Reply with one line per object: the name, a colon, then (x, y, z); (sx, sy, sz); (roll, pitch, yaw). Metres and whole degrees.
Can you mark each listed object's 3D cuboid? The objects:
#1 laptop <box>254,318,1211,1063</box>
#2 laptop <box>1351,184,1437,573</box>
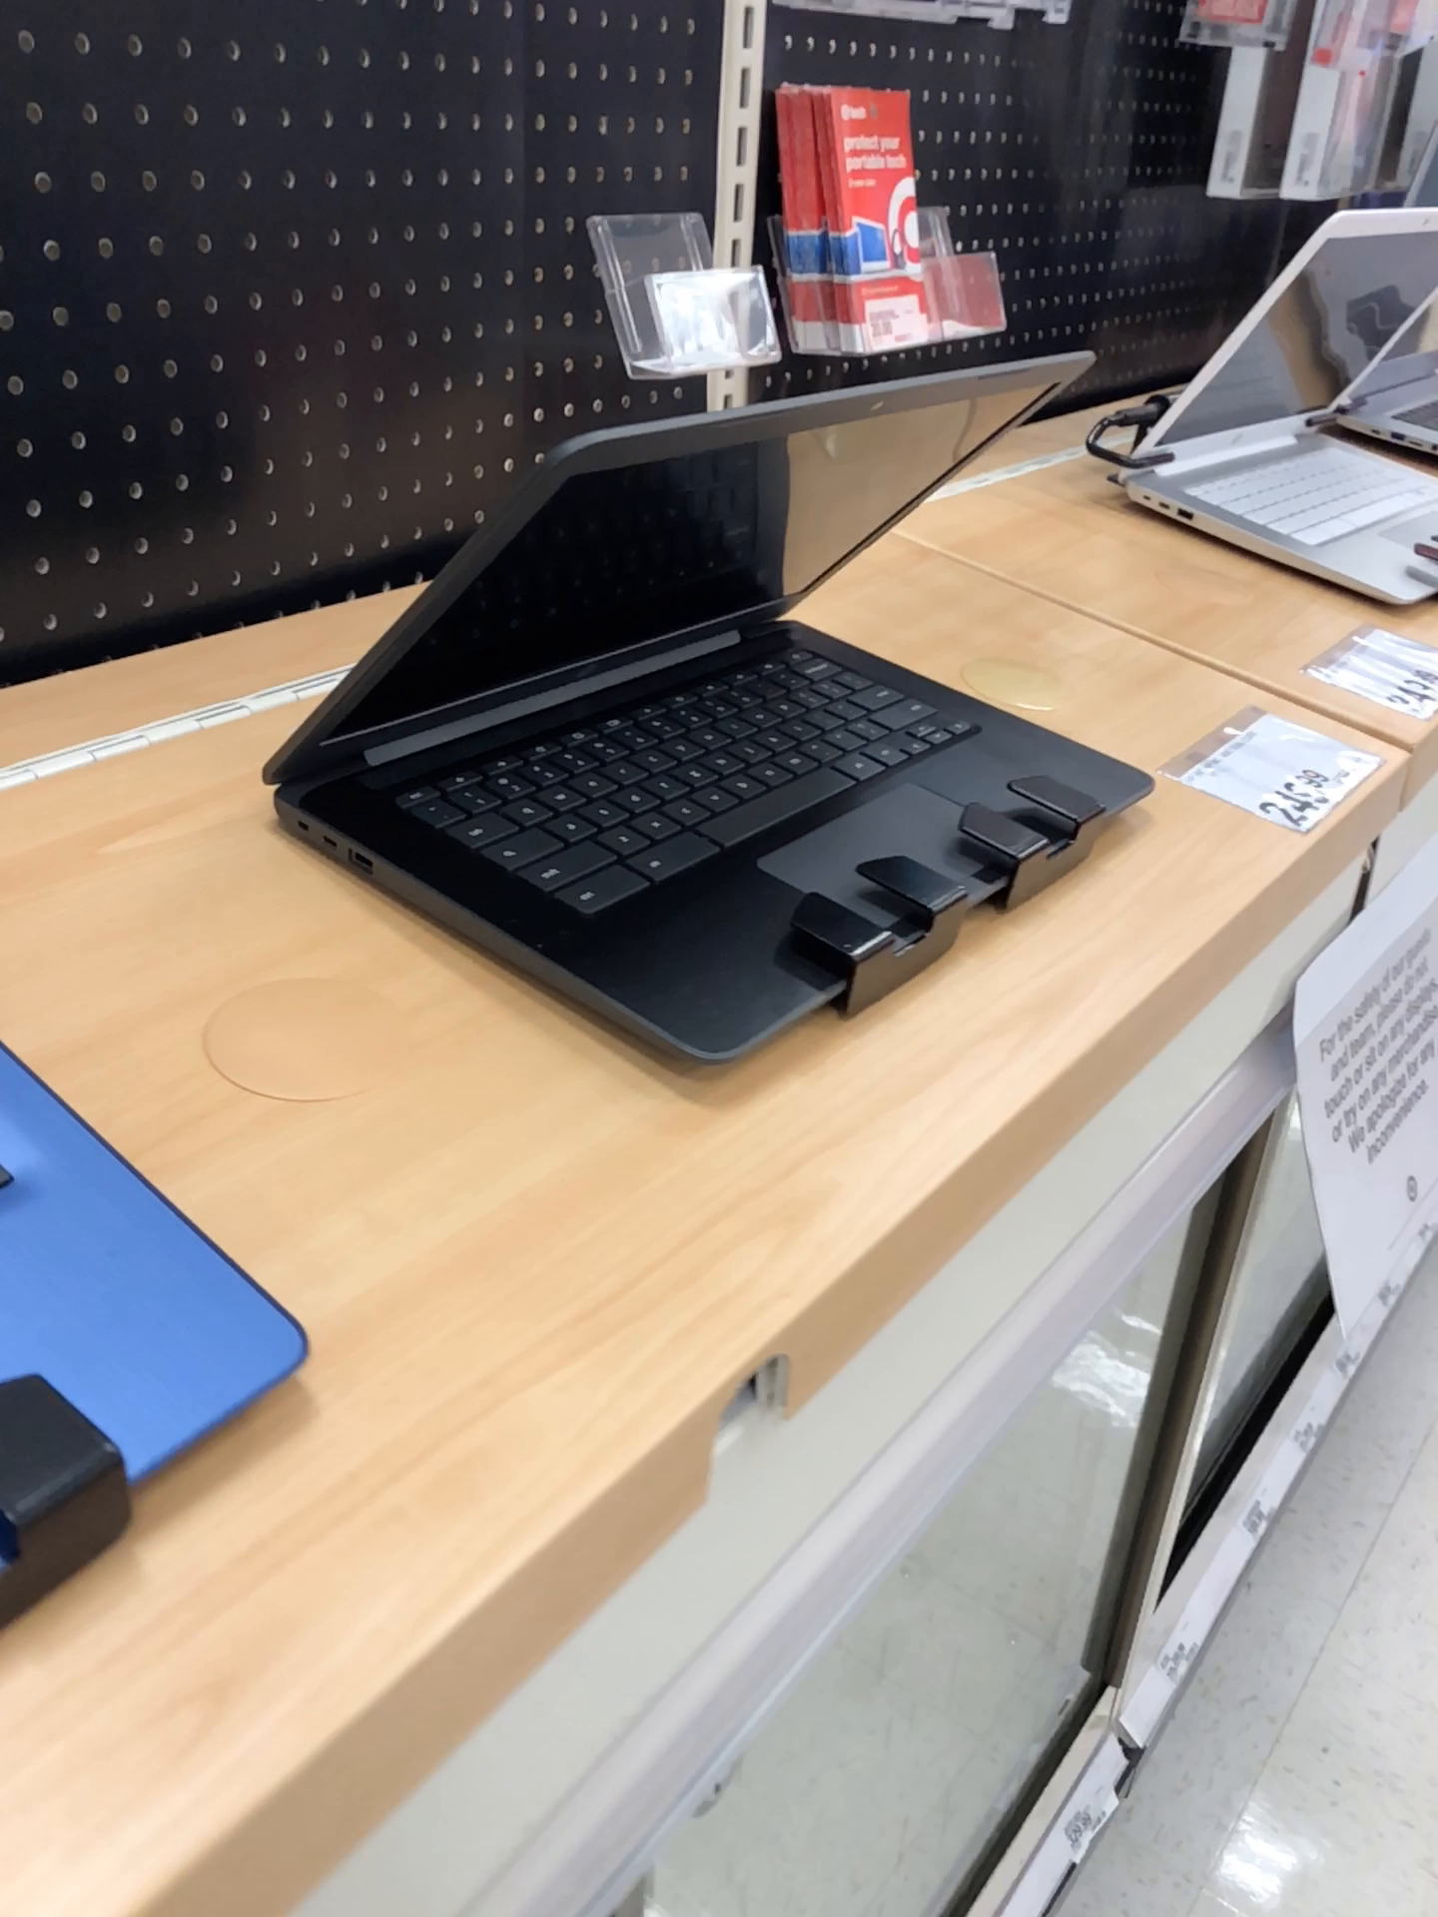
laptop: (0.023, -0.132, 0.605); (0.200, 0.144, 0.320); (27, 36, 28)
laptop: (0.697, -0.580, 1.476); (0.221, 0.133, 0.833); (17, 36, -1)
